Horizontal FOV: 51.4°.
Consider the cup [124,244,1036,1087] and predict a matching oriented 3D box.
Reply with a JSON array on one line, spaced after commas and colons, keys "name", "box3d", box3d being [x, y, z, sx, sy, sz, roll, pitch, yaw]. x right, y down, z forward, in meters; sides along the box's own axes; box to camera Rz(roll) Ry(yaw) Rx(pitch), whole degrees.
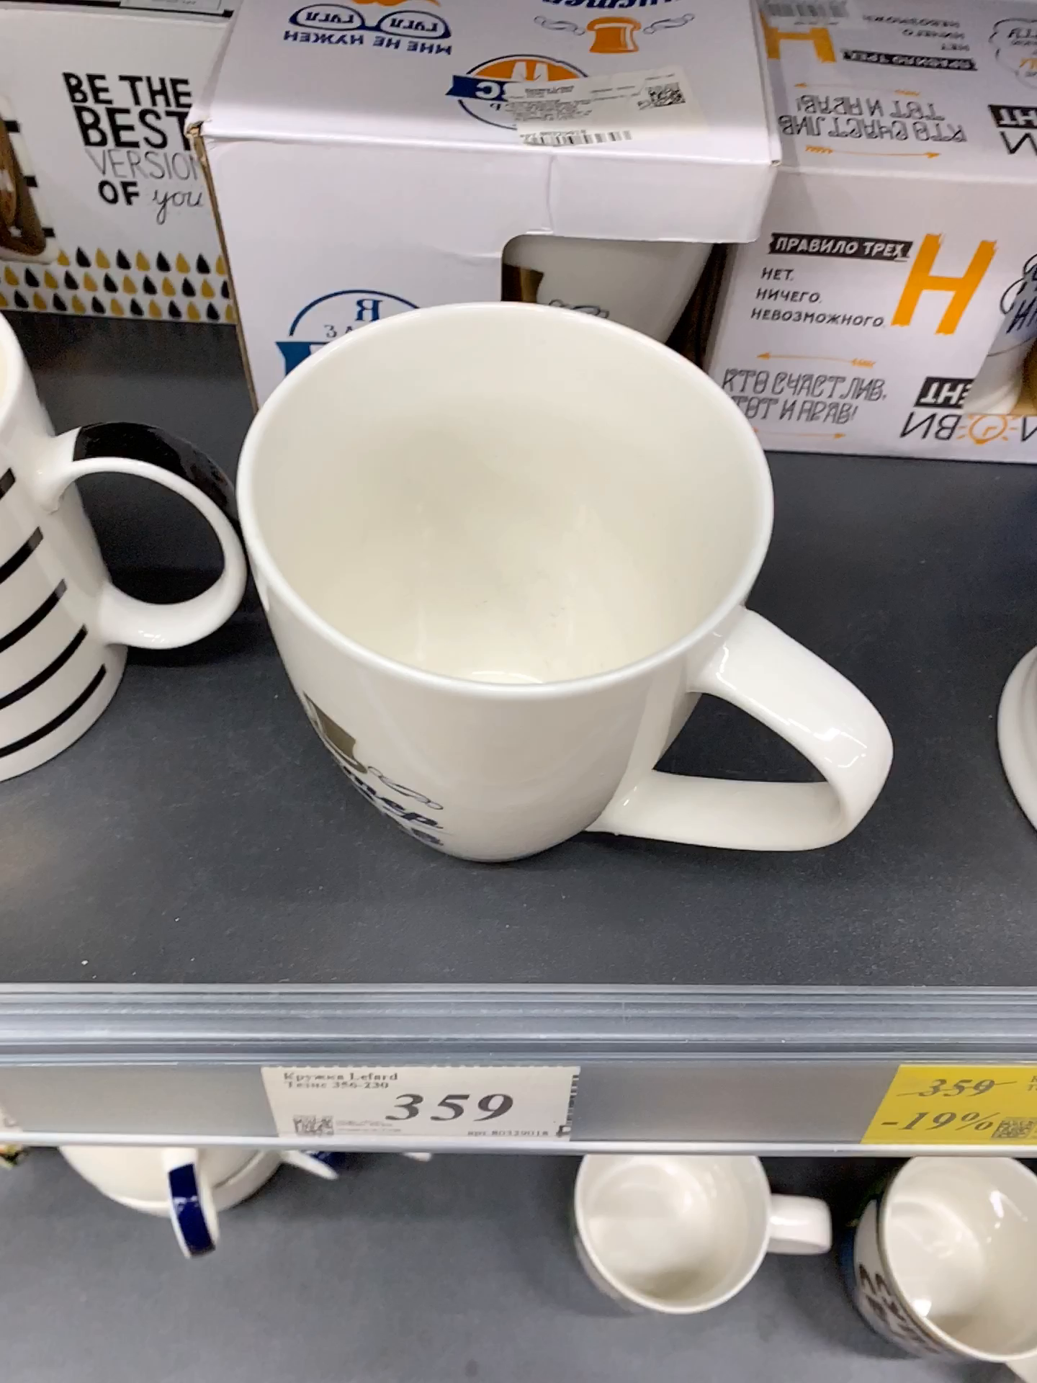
[{"name": "cup", "box3d": [0.011, -0.006, 0.227, 0.132, 0.093, 0.093, 29, 60, 16]}]
